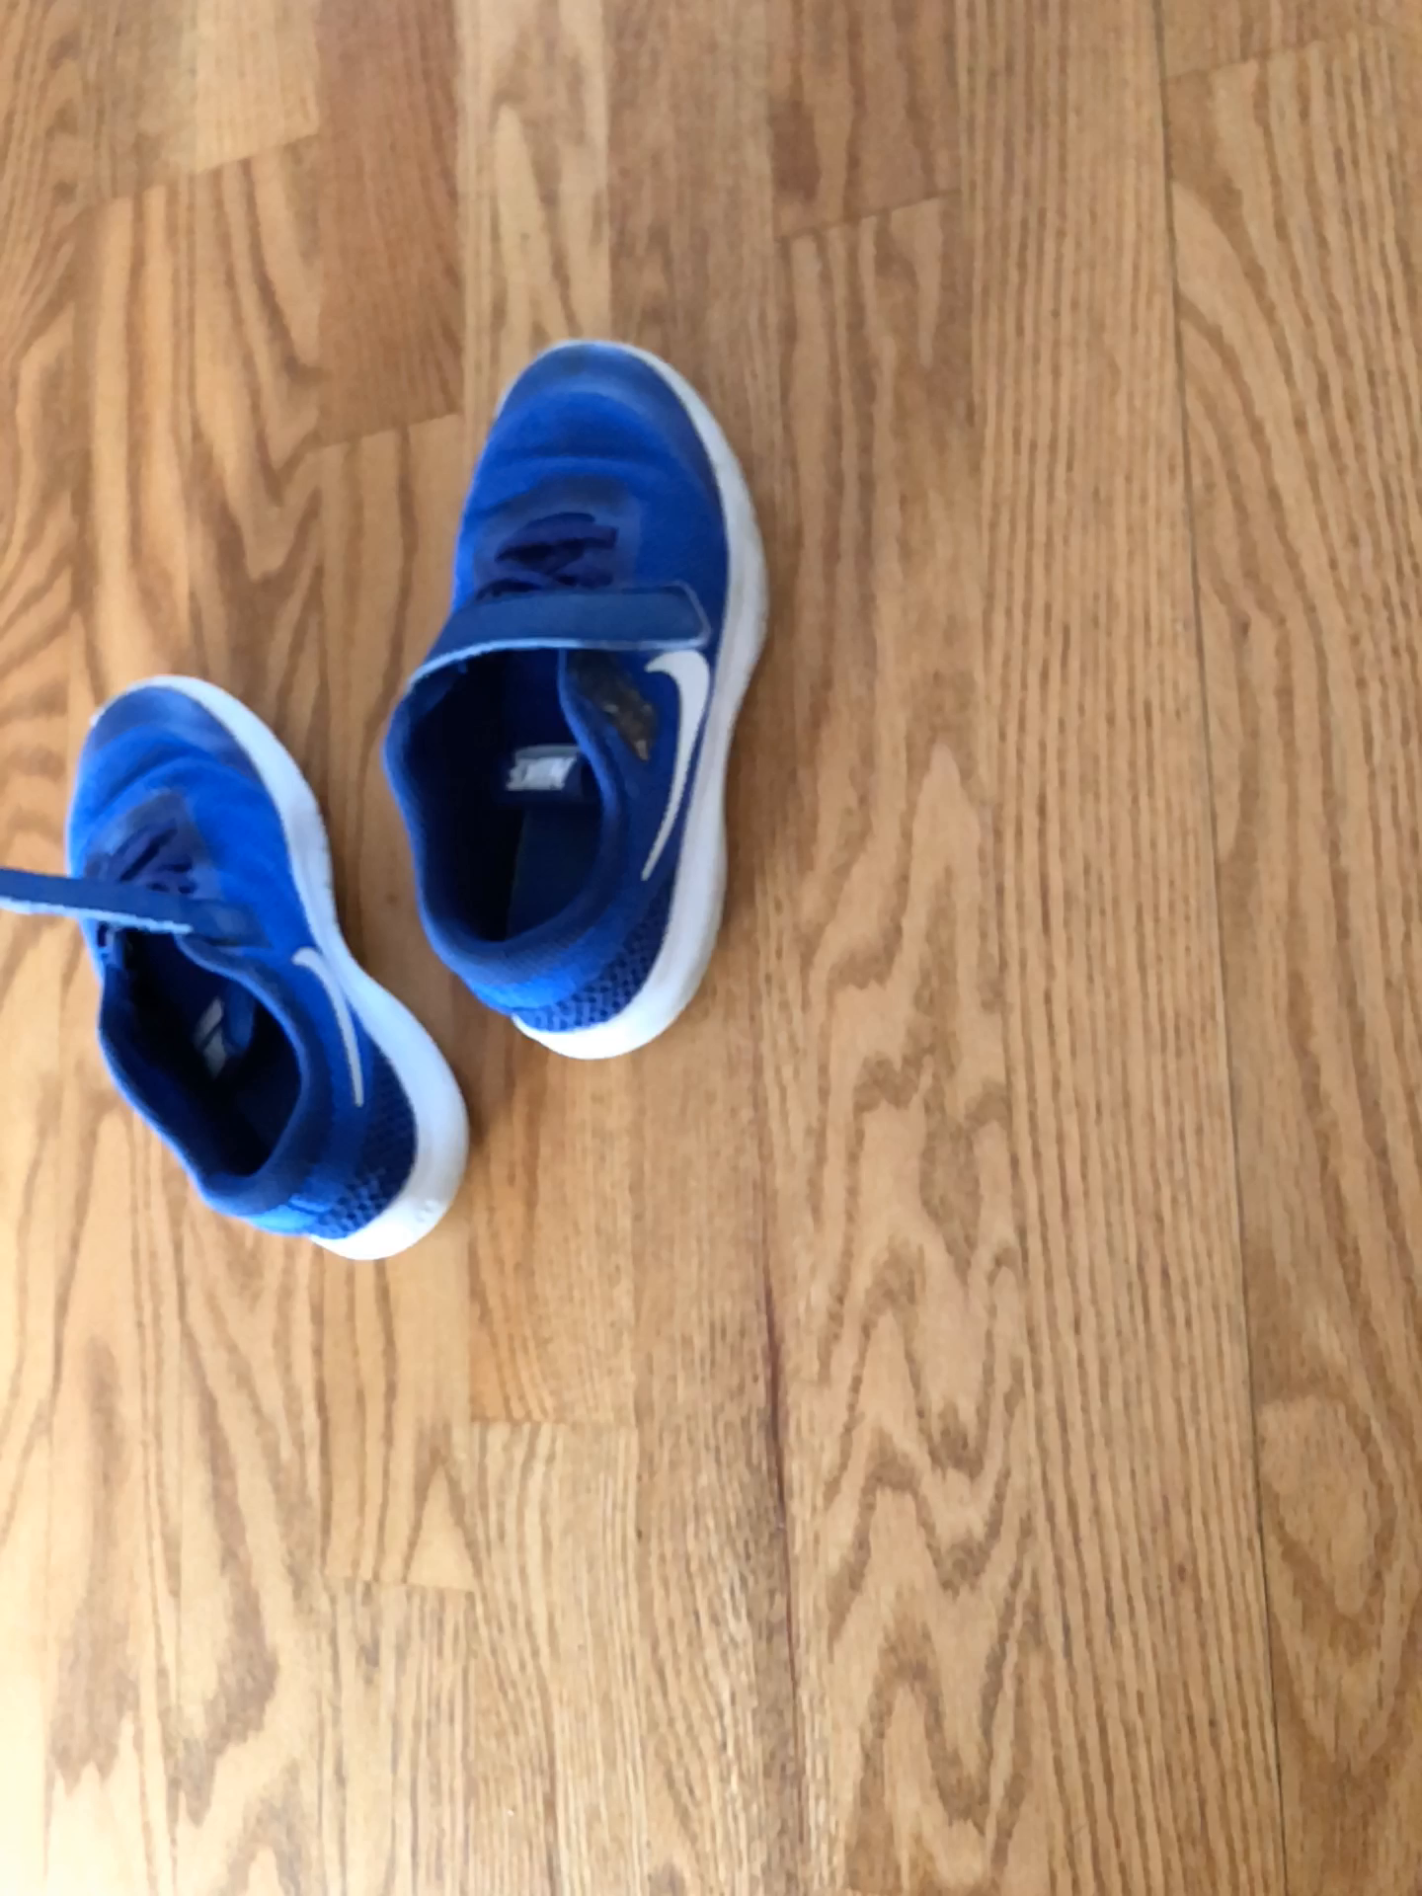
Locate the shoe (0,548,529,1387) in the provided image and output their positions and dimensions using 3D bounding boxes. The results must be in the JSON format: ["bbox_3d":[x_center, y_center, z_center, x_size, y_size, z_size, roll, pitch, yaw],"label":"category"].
[{"bbox_3d":[-0.159,0.005,0.473,0.093,0.092,0.214,-35,71,17],"label":"shoe"}]

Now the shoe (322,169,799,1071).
[{"bbox_3d":[-0.039,-0.077,0.434,0.093,0.092,0.214,-4,82,24],"label":"shoe"}]
